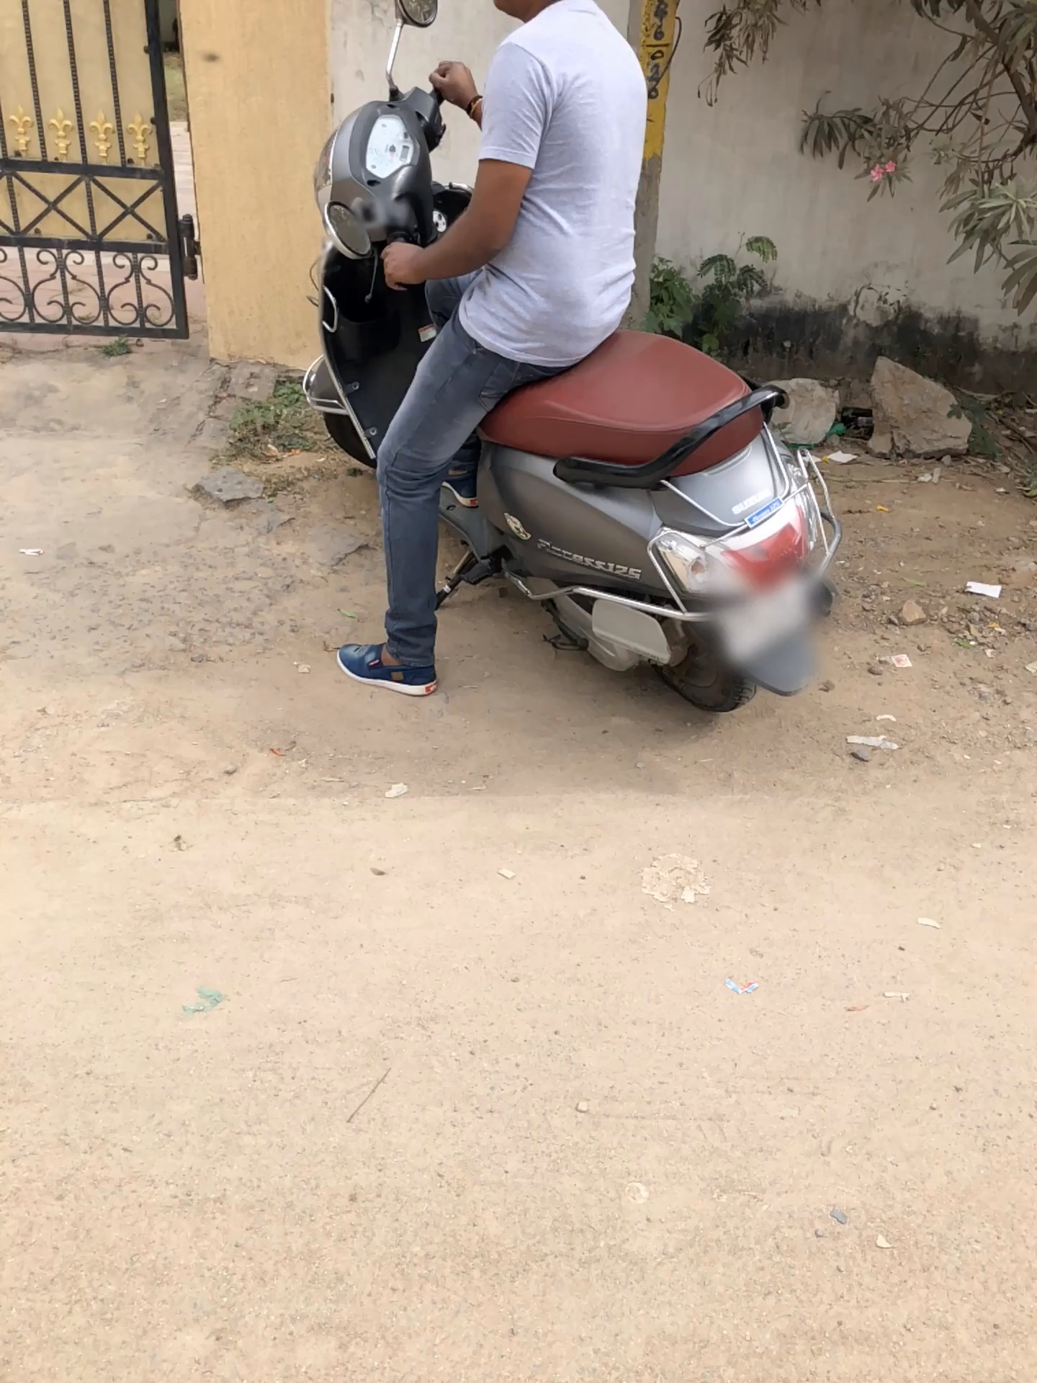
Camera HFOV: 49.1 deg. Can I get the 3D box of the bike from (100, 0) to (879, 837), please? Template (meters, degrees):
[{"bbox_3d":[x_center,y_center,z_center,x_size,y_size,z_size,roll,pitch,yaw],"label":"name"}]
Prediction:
[{"bbox_3d":[-0.172,-0.702,2.414,0.613,1.195,1.500,-22,42,-36],"label":"bike"}]
